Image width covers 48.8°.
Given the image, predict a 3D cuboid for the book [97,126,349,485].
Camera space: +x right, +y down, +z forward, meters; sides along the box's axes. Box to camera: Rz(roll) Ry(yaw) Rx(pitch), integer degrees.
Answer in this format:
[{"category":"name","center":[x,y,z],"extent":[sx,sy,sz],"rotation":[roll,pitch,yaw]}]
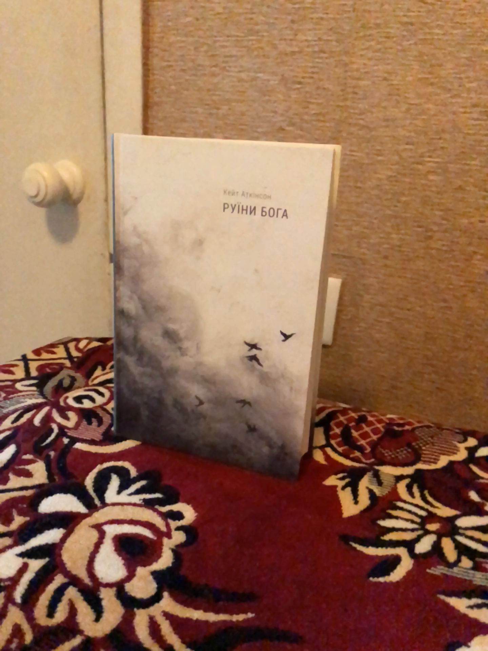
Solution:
[{"category":"book","center":[-0.022,-0.016,0.359],"extent":[0.150,0.210,0.040],"rotation":[11,18,19]}]
